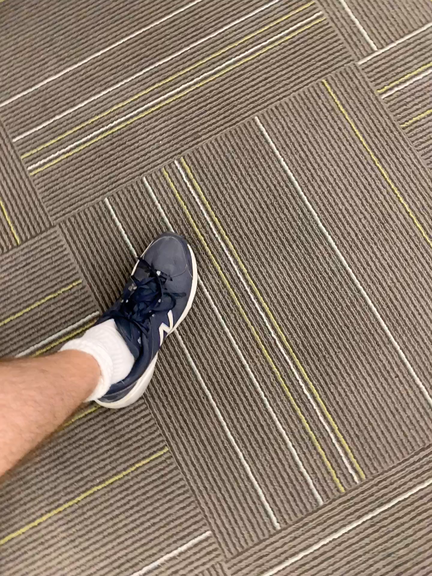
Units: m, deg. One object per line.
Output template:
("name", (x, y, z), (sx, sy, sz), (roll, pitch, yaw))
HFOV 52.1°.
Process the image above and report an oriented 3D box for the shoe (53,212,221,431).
("shoe", (-0.119, 0.050, 0.711), (0.130, 0.070, 0.310), (25, 83, 7))
